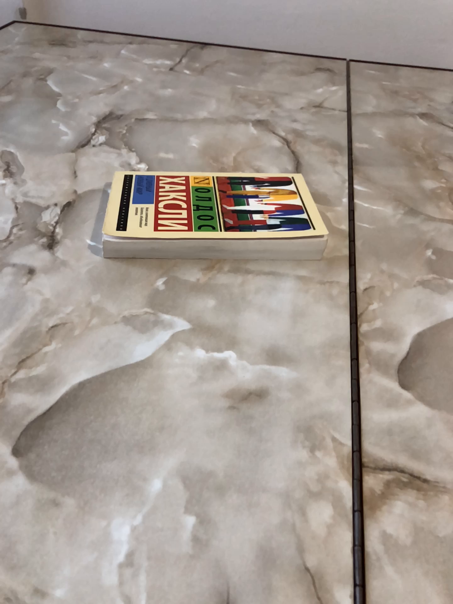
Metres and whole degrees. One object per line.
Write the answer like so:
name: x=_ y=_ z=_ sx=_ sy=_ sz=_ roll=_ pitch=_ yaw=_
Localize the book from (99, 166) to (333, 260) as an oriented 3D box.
book: x=-0.012 y=-0.082 z=0.441 sx=0.184 sy=0.020 sz=0.121 roll=-1 pitch=42 yaw=-6
